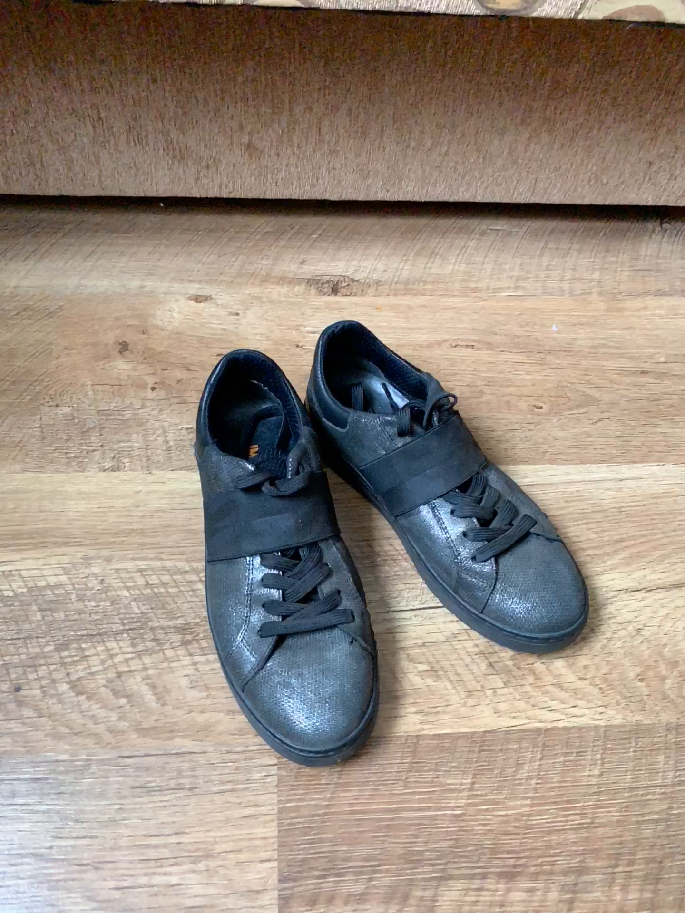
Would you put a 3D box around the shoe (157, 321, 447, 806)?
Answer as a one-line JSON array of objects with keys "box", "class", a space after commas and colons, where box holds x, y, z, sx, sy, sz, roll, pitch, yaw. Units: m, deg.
[{"box": [-0.038, 0.047, 0.419, 0.100, 0.090, 0.261, -11, 55, -12], "class": "shoe"}]

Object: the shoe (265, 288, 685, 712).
[{"box": [0.067, 0.015, 0.455, 0.100, 0.090, 0.261, -31, 61, -24], "class": "shoe"}]
